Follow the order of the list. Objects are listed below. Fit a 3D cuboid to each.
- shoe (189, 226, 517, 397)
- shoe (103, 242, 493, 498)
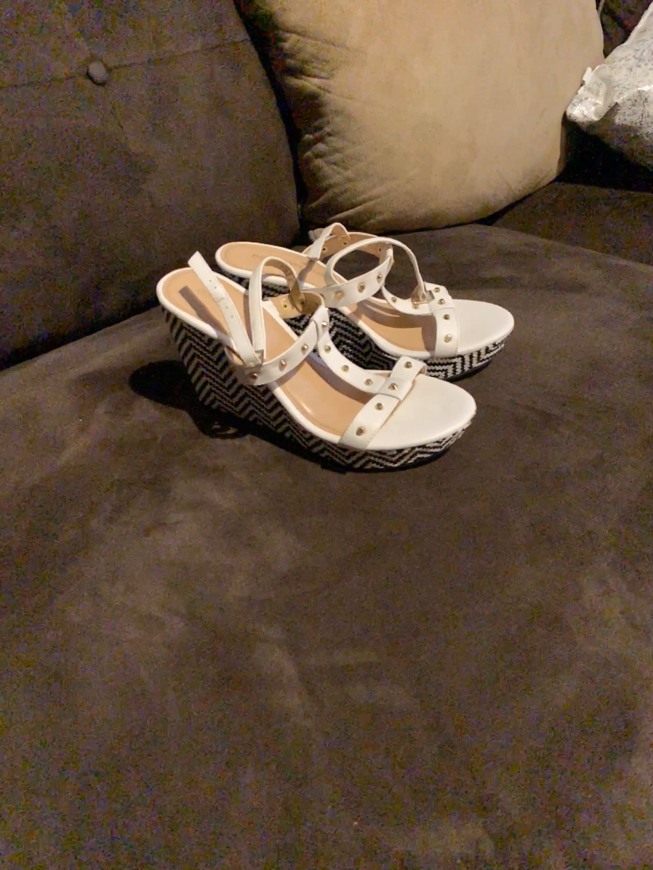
[{"bbox_3d":[0.024,-0.110,0.575,0.250,0.099,0.101,4,36,7],"label":"shoe"},{"bbox_3d":[-0.022,-0.060,0.511,0.260,0.099,0.110,16,38,20],"label":"shoe"}]
